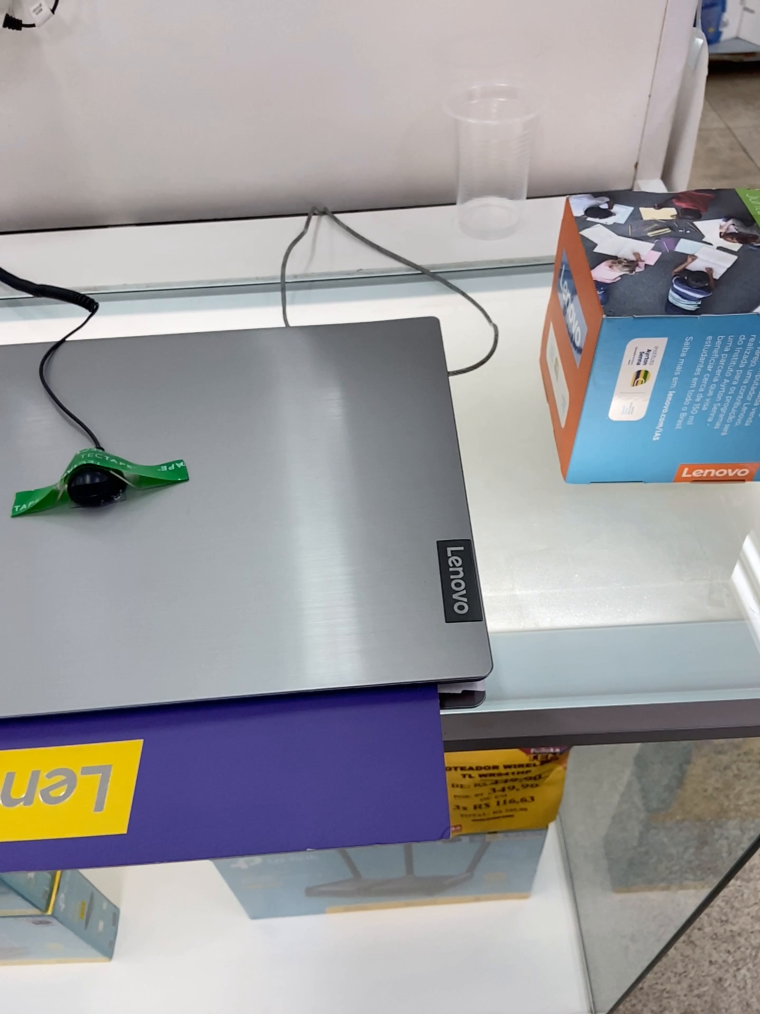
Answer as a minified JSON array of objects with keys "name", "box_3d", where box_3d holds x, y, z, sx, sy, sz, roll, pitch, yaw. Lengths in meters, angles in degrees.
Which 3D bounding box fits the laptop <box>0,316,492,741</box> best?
[{"name":"laptop","box_3d":[-0.143,-0.010,0.387,0.362,0.001,0.241,-4,48,1]}]
